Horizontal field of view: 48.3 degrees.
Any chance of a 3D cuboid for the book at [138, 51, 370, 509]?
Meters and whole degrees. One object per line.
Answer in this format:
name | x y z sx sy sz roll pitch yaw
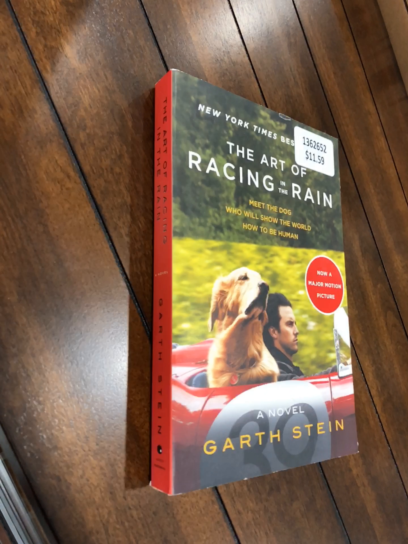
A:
book | 0.033 0.003 0.259 0.141 0.027 0.210 7 77 -37
